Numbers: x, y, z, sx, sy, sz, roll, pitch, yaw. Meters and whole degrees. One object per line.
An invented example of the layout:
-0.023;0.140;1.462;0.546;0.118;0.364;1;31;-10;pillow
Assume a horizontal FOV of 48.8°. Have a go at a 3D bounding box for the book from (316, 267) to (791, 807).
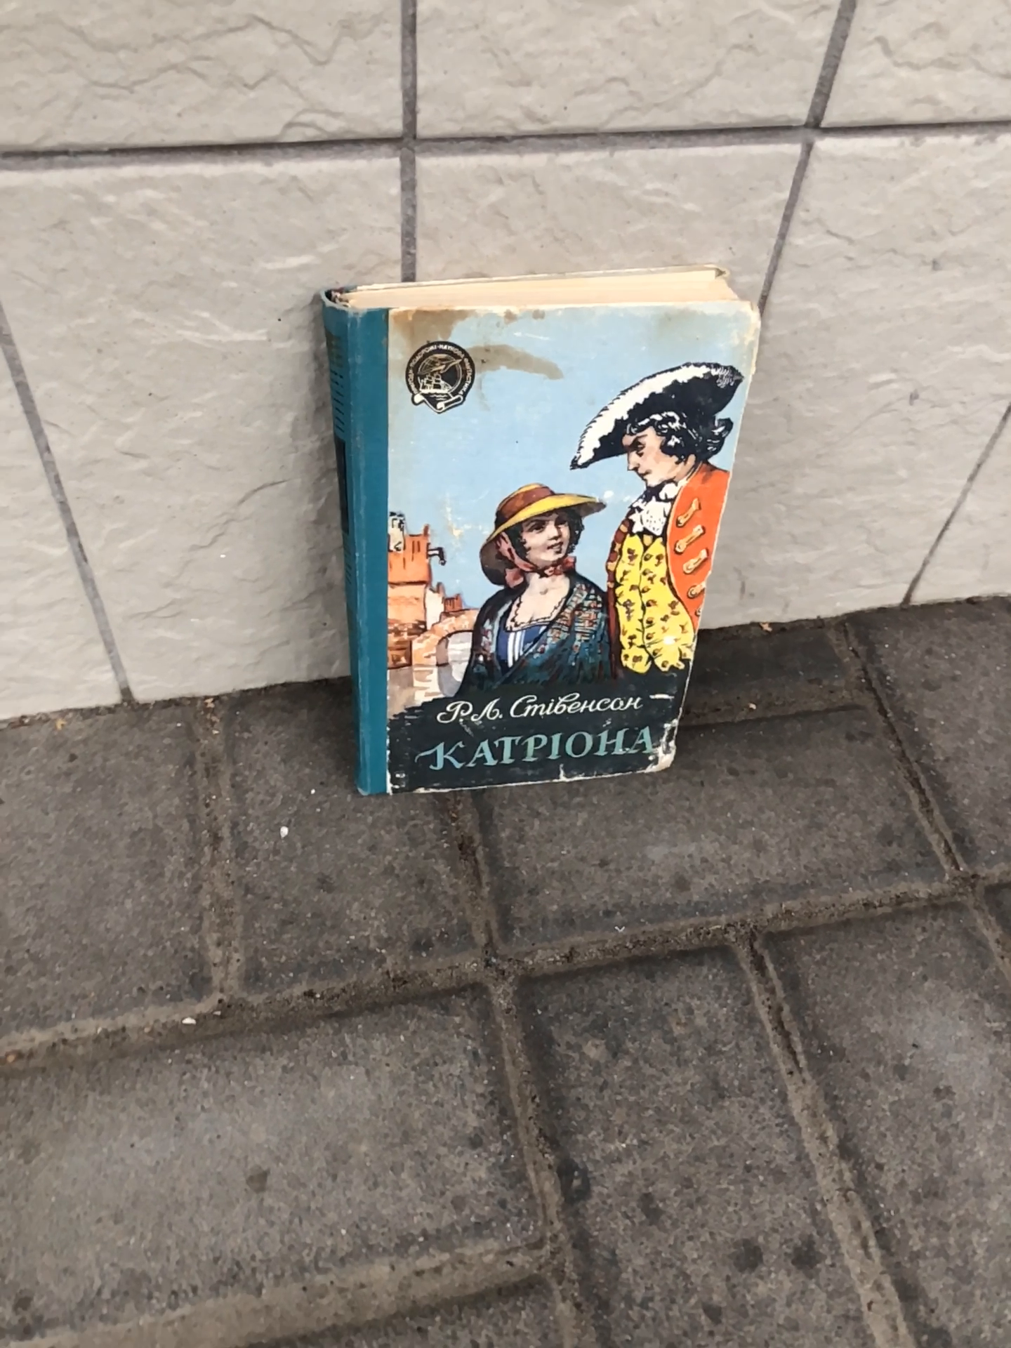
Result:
0.010;-0.038;0.382;0.134;0.189;0.030;-5;40;-9;book
